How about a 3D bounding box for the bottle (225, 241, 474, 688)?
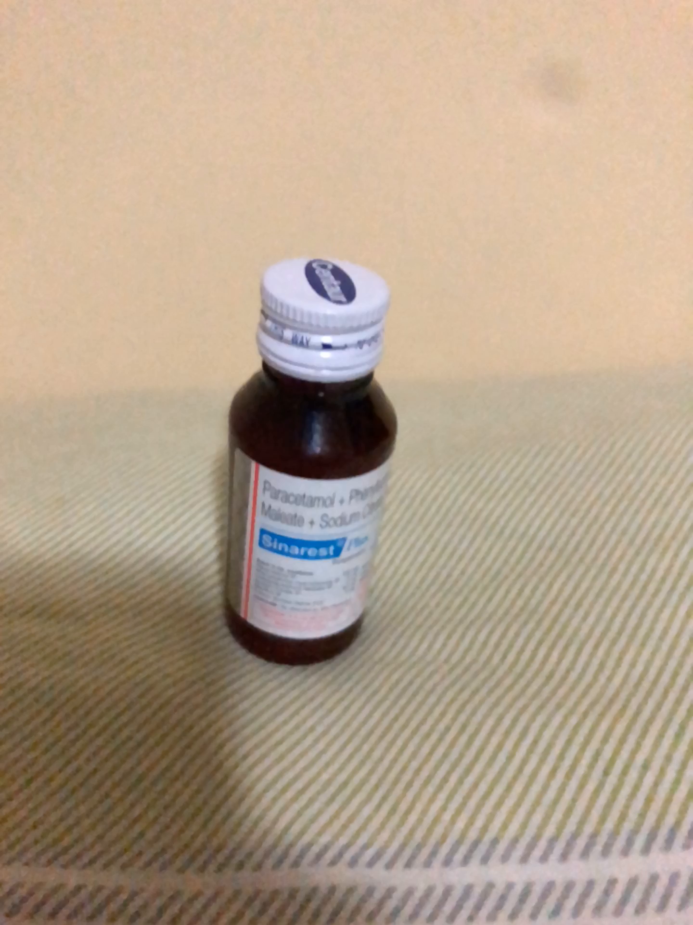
[{"bbox_3d":[-0.005,0.003,0.190,0.040,0.100,0.040,5,35,-4],"label":"bottle"}]
